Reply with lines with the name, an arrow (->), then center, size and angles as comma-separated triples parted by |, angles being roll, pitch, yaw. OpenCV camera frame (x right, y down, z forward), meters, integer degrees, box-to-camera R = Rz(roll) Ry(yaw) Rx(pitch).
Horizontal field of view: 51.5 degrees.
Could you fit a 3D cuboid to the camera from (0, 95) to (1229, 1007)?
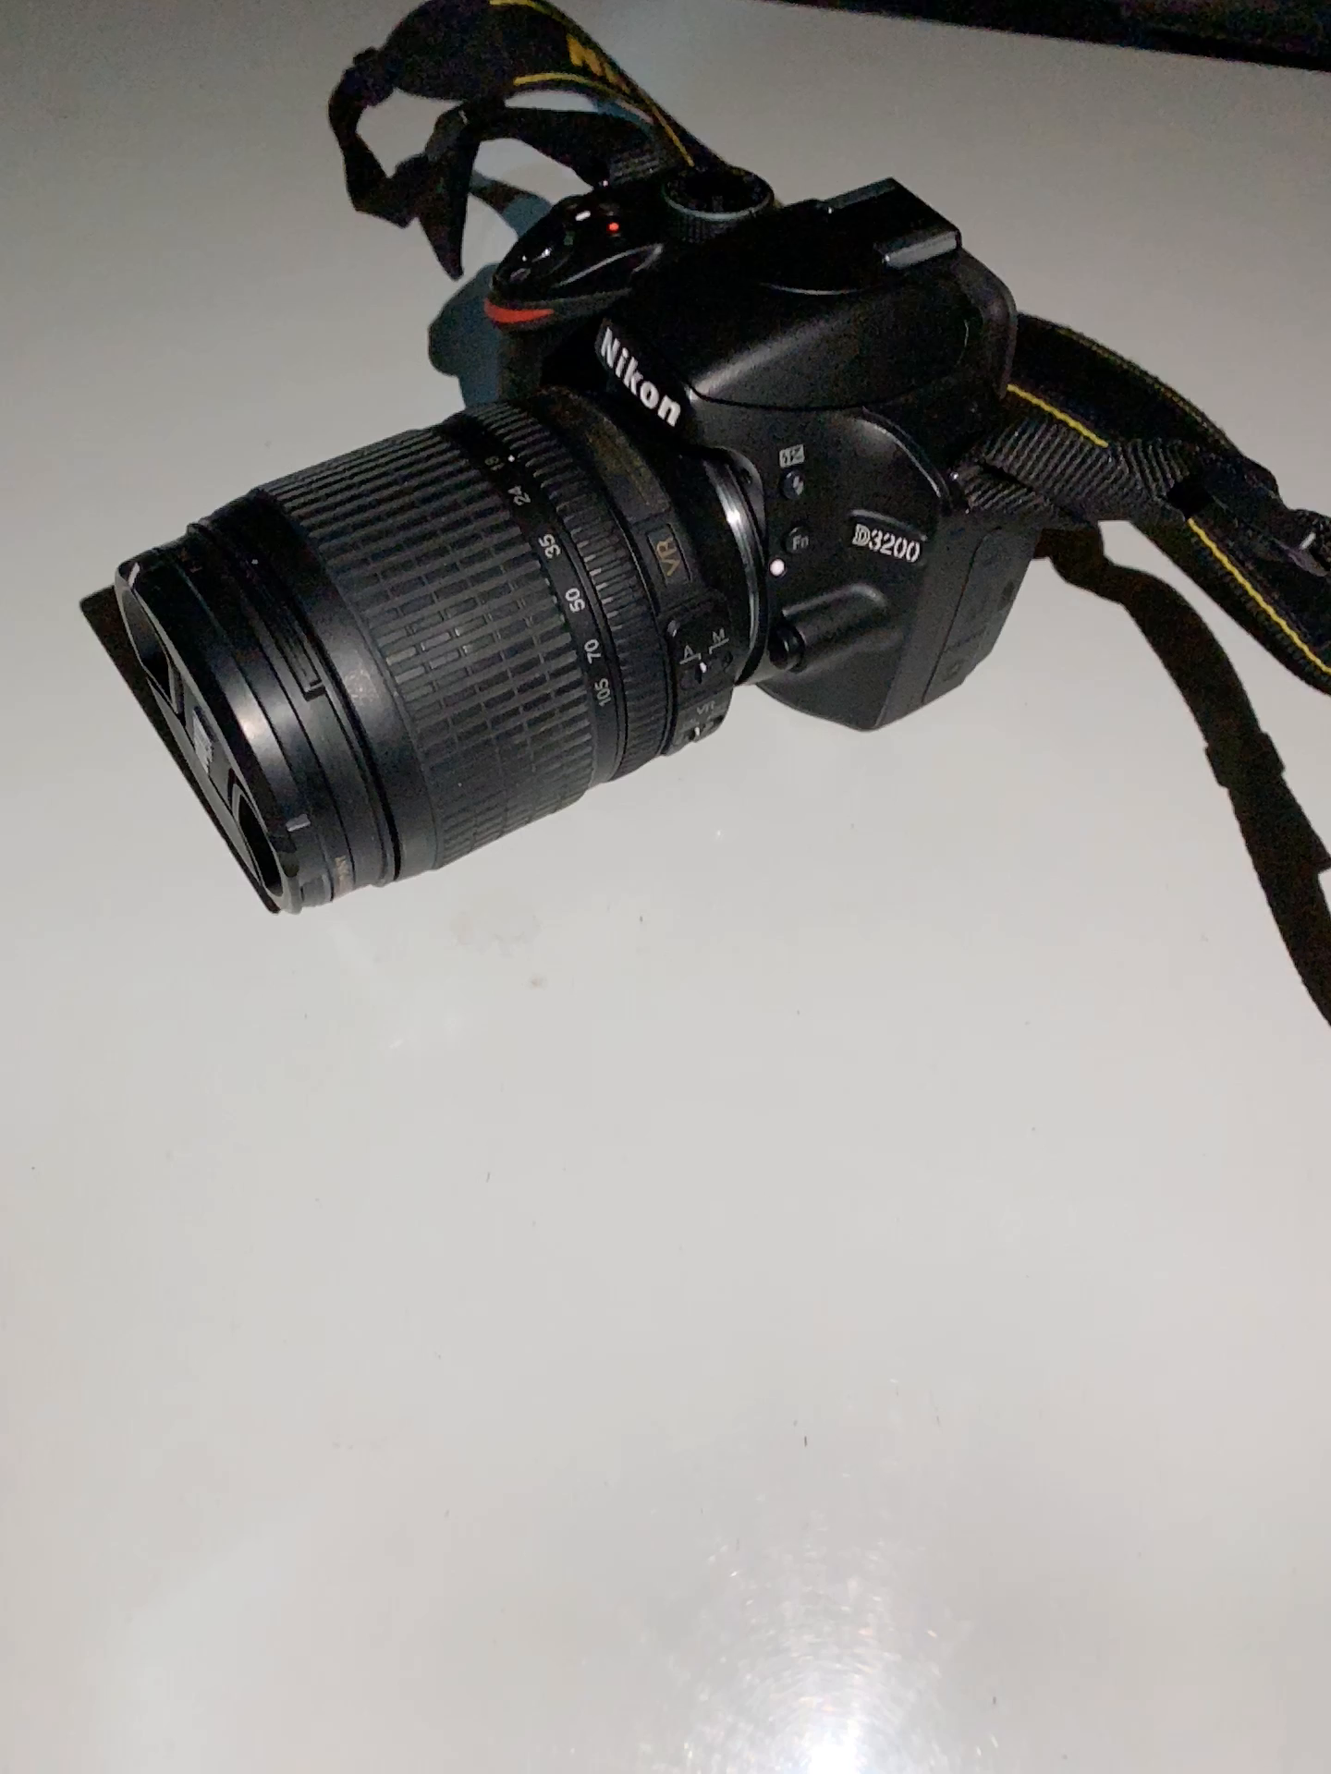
camera -> -0.014, -0.086, 0.294 | 0.201, 0.099, 0.127 | -21, 51, -24
